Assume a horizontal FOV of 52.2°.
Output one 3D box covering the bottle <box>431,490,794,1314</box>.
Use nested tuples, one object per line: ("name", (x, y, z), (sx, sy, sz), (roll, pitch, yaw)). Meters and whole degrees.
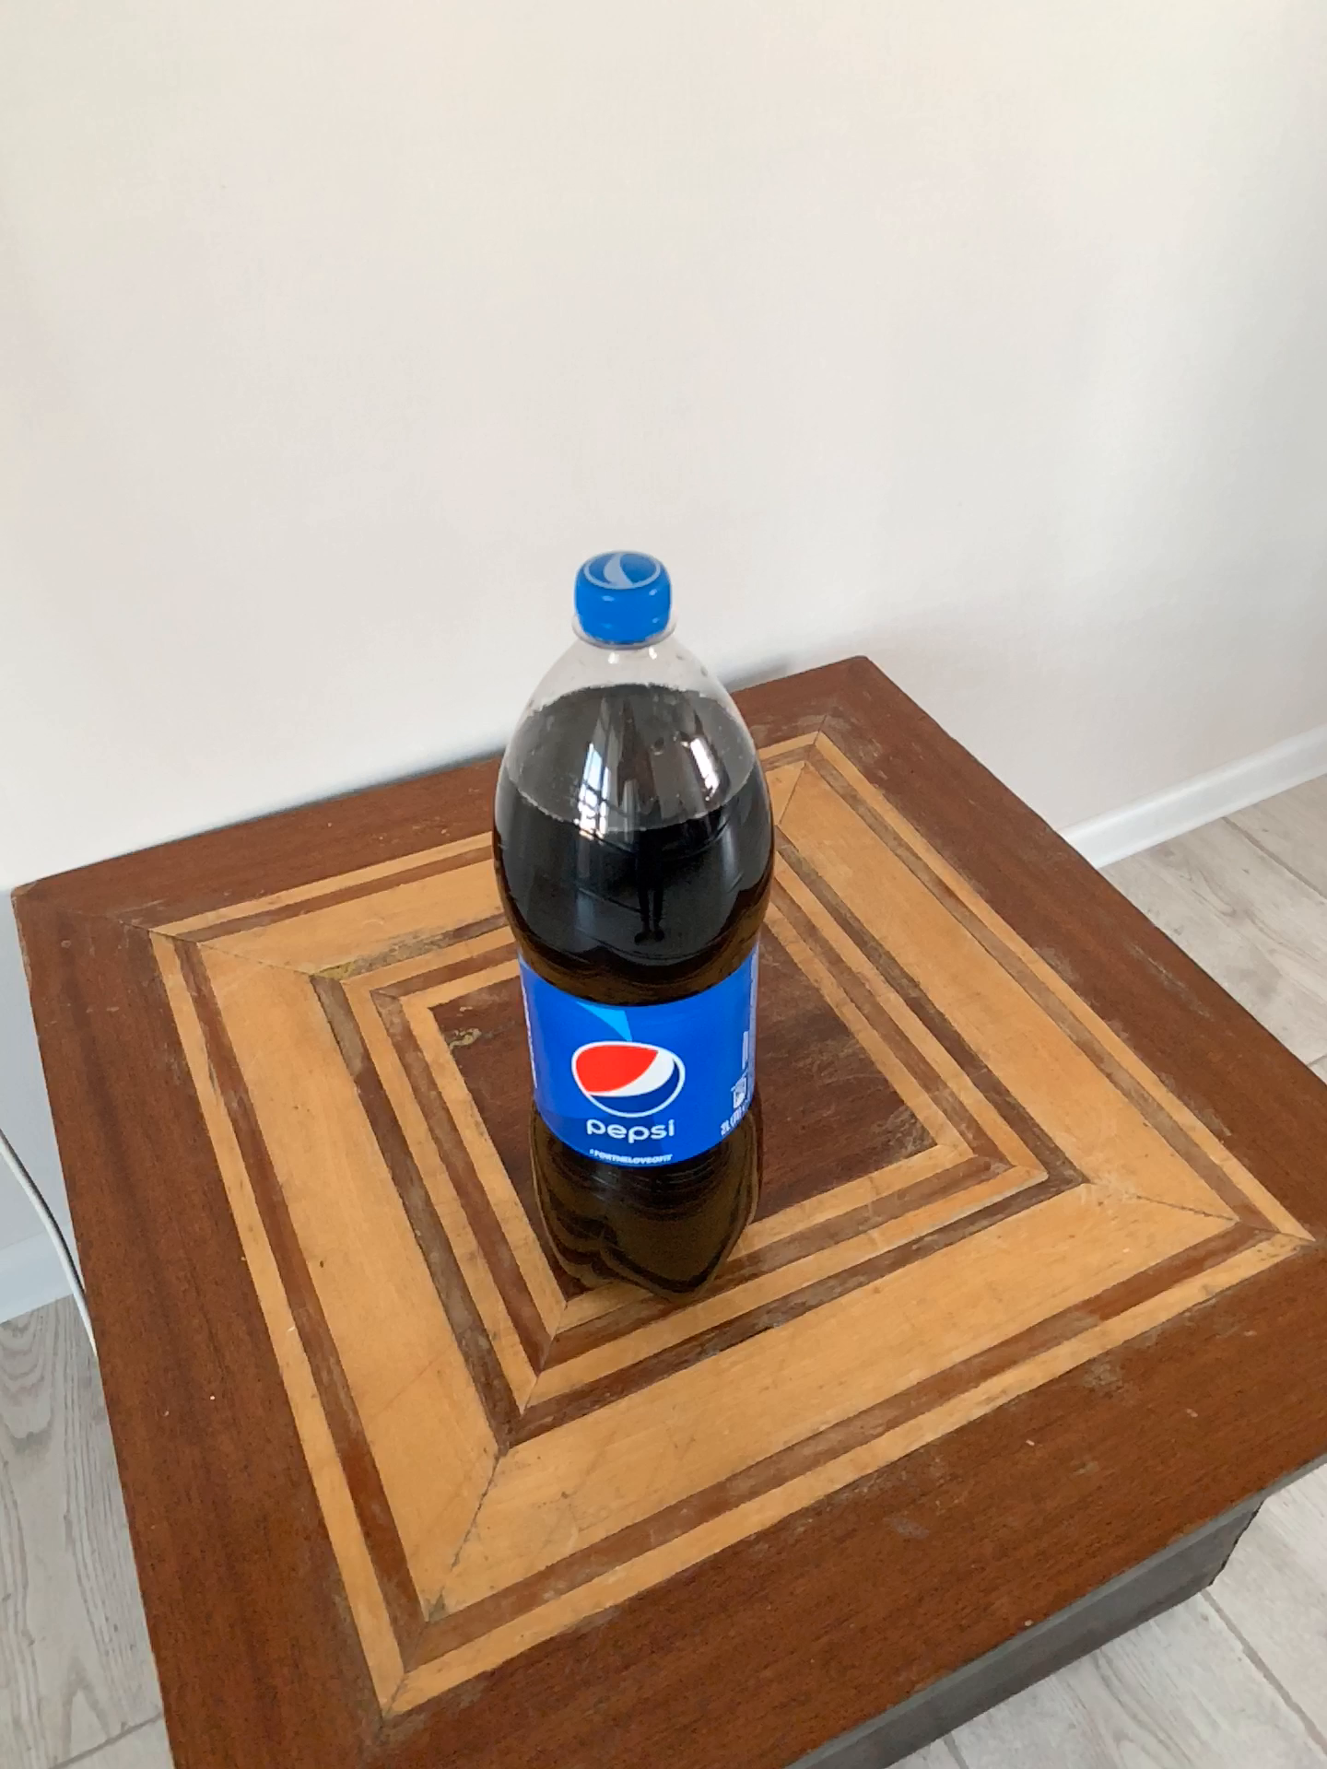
("bottle", (-0.010, 0.029, 0.522), (0.100, 0.338, 0.100), (-1, 42, 1))
